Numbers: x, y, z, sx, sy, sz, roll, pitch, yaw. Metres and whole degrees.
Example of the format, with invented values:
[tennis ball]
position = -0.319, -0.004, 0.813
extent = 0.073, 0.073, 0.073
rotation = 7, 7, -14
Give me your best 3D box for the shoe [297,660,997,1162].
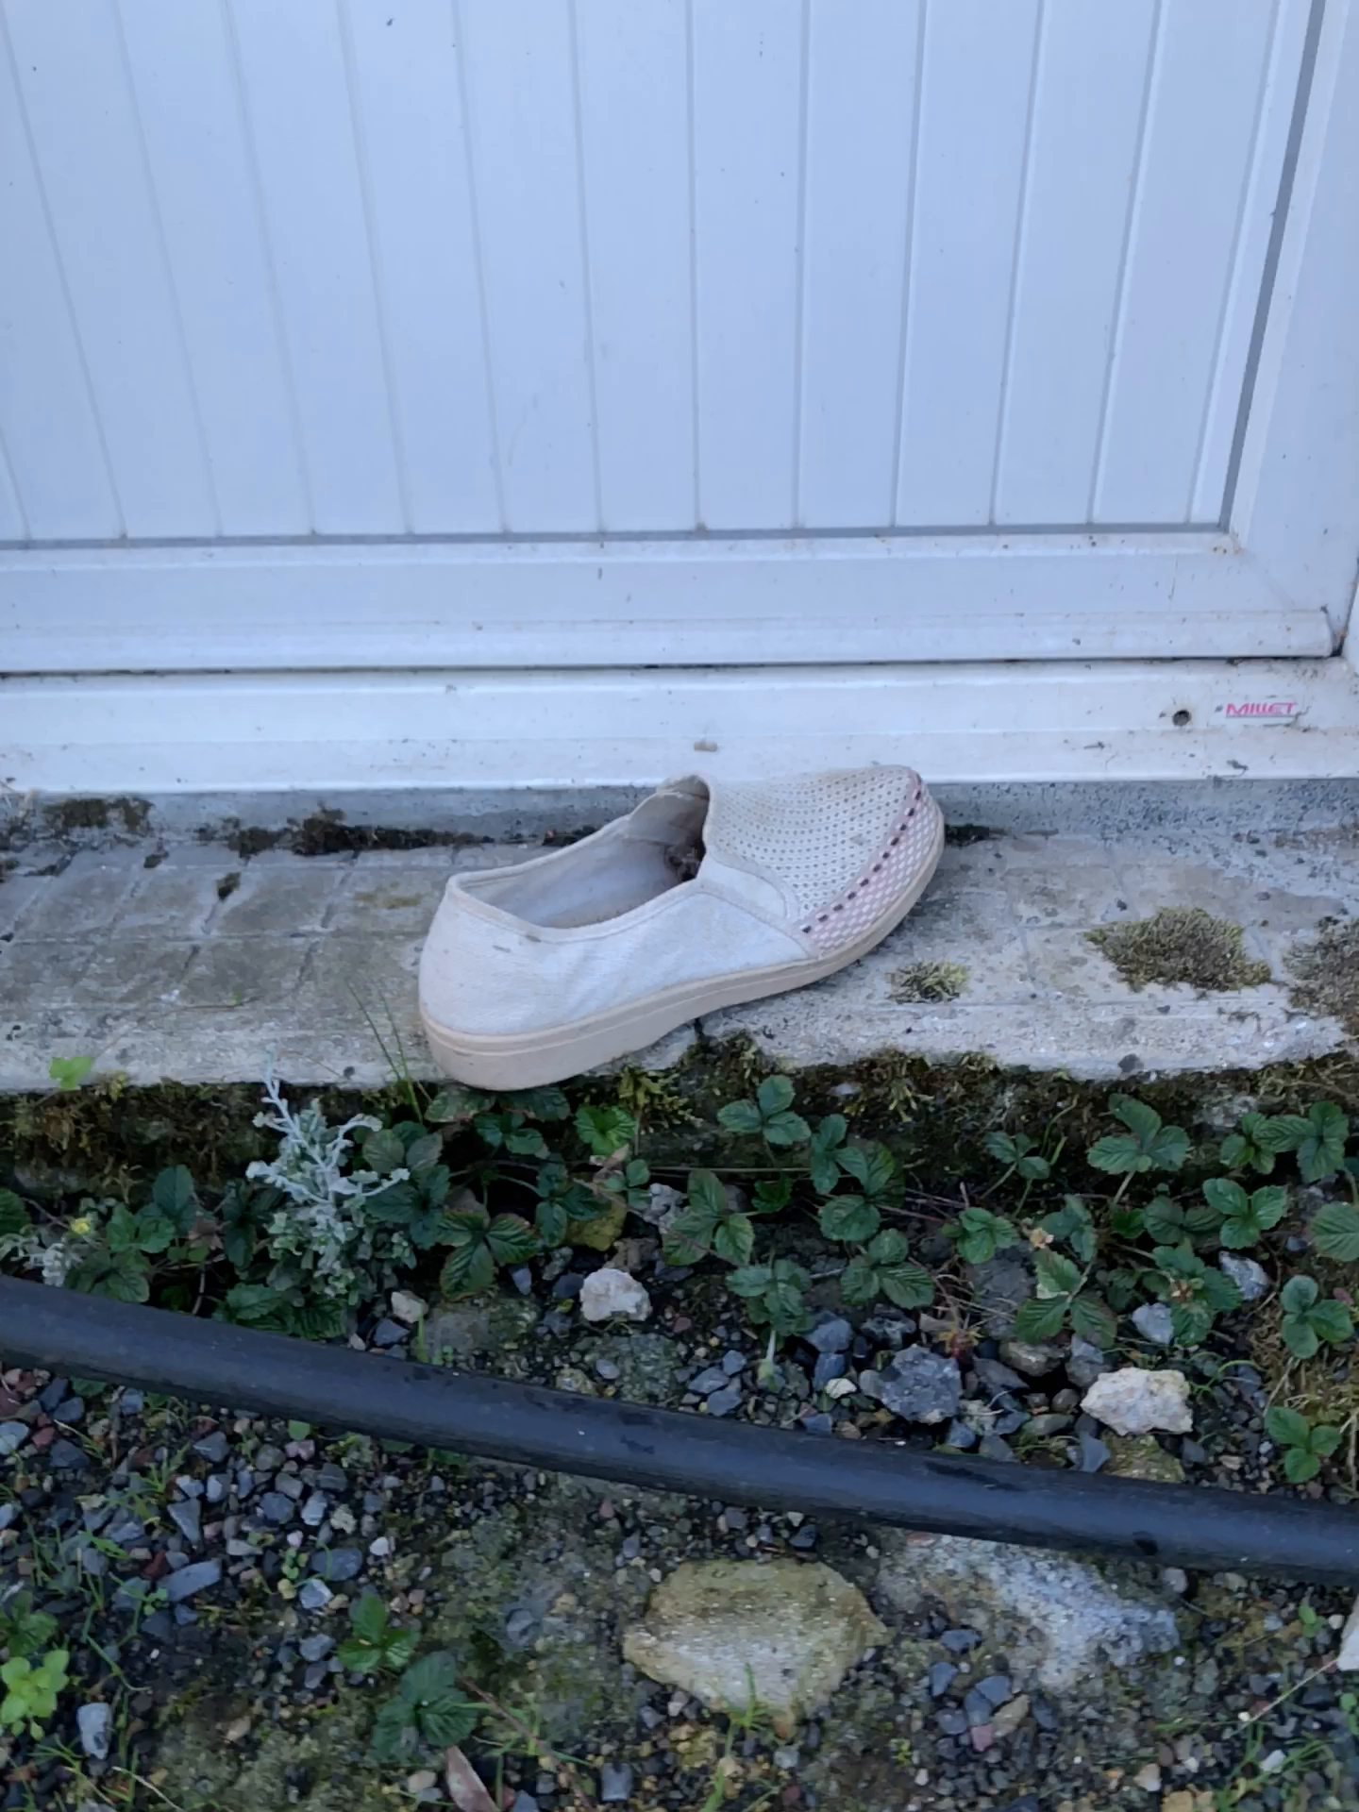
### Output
[shoe]
position = -0.004, -0.011, 0.631
extent = 0.281, 0.080, 0.100
rotation = -25, 40, -30
